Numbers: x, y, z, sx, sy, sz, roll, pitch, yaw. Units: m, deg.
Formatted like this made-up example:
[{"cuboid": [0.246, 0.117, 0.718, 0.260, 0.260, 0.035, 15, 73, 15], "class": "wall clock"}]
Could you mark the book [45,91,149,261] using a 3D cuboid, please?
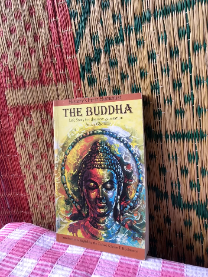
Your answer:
[{"cuboid": [-0.013, 0.046, 0.324, 0.146, 0.207, 0.030, -1, 0, 24], "class": "book"}]
